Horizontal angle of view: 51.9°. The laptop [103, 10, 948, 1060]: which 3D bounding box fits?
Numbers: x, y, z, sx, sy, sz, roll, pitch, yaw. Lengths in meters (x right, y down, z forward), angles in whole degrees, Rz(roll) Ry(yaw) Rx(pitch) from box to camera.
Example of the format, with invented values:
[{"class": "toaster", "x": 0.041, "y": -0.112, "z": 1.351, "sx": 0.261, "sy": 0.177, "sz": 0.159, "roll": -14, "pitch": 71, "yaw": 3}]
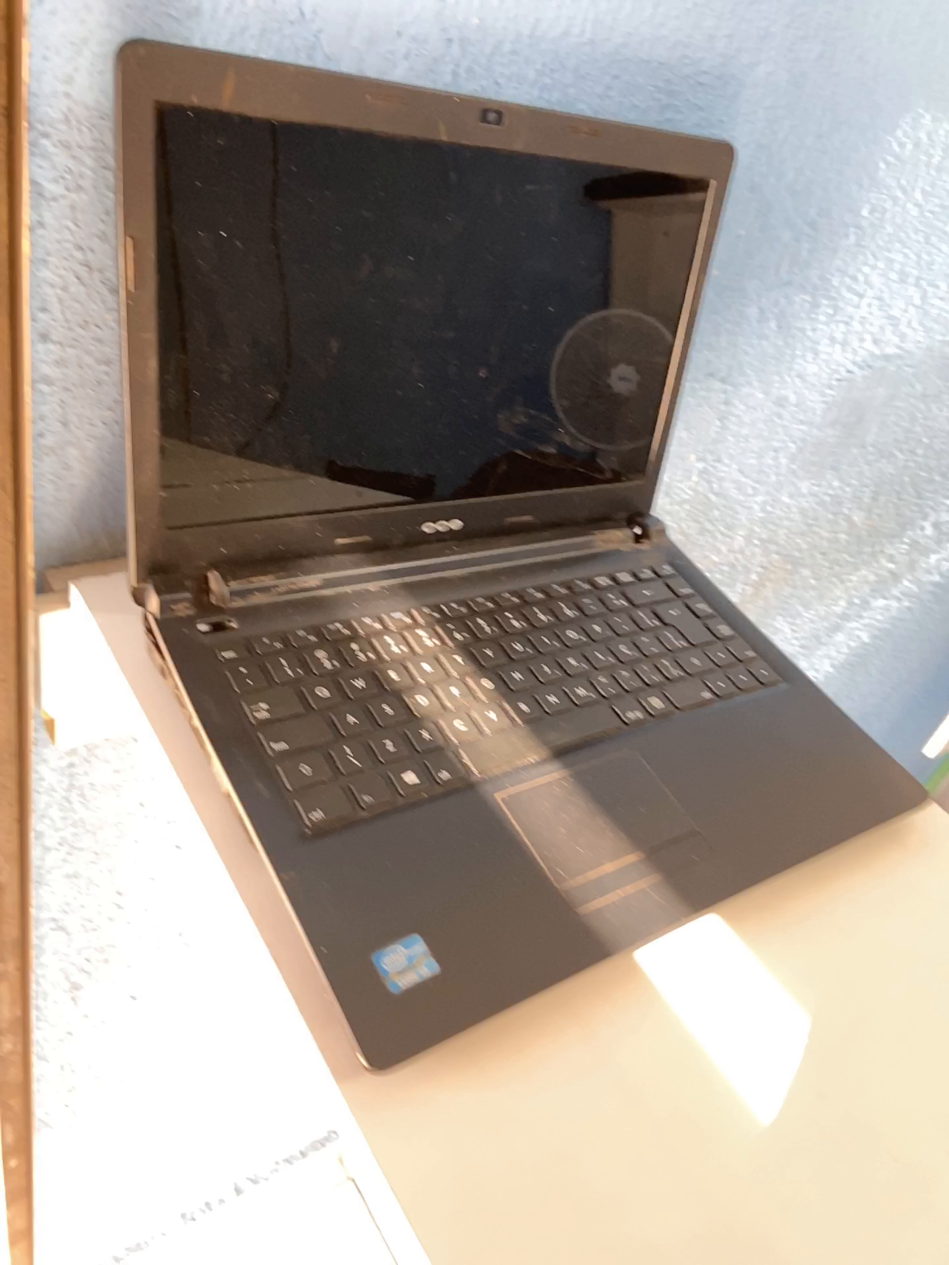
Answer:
[{"class": "laptop", "x": 0.054, "y": -0.074, "z": 0.442, "sx": 0.334, "sy": 0.210, "sz": 0.313, "roll": -11, "pitch": 48, "yaw": -34}]
